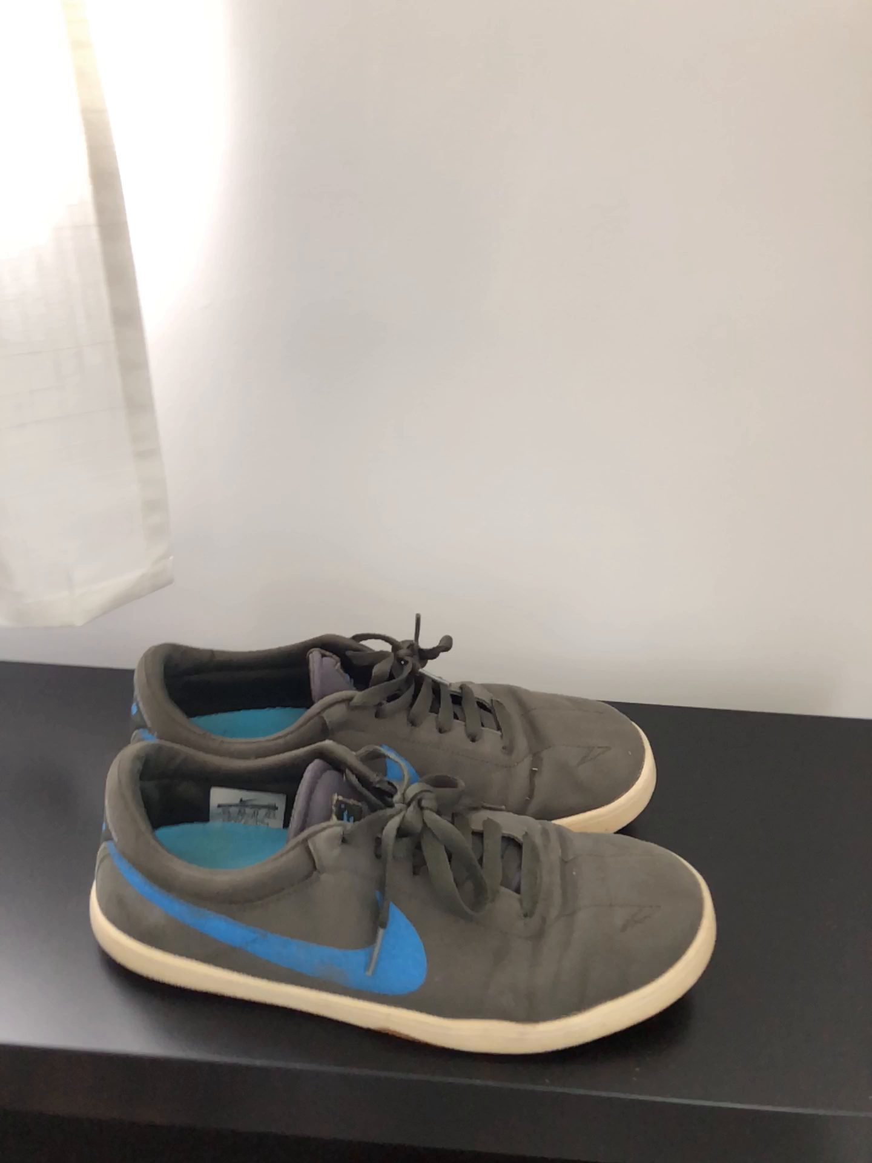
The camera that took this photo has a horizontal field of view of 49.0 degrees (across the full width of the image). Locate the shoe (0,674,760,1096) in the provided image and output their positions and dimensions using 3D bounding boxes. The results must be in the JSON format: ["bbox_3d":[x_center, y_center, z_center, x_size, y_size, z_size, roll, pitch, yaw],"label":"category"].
[{"bbox_3d":[-0.022,0.128,0.419,0.280,0.110,0.100,5,31,4],"label":"shoe"}]

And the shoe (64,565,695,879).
[{"bbox_3d":[-0.026,0.070,0.495,0.280,0.110,0.100,3,31,0],"label":"shoe"}]
